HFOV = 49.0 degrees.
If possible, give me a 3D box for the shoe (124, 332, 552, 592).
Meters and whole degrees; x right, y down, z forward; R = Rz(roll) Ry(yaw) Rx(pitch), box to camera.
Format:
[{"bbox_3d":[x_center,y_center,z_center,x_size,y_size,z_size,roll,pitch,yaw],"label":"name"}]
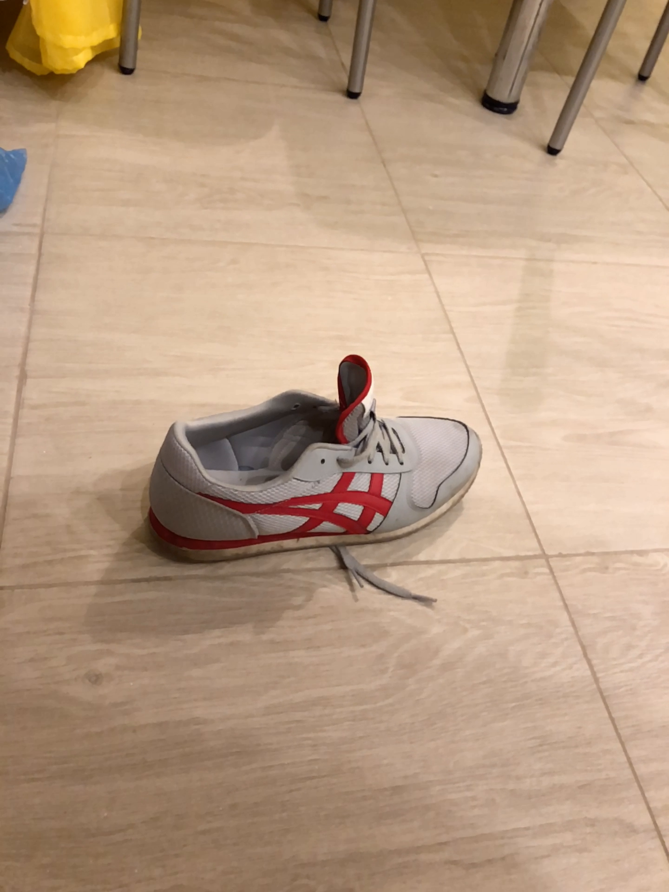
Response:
[{"bbox_3d":[-0.004,0.006,0.583,0.298,0.129,0.111,-8,51,-20],"label":"shoe"}]
